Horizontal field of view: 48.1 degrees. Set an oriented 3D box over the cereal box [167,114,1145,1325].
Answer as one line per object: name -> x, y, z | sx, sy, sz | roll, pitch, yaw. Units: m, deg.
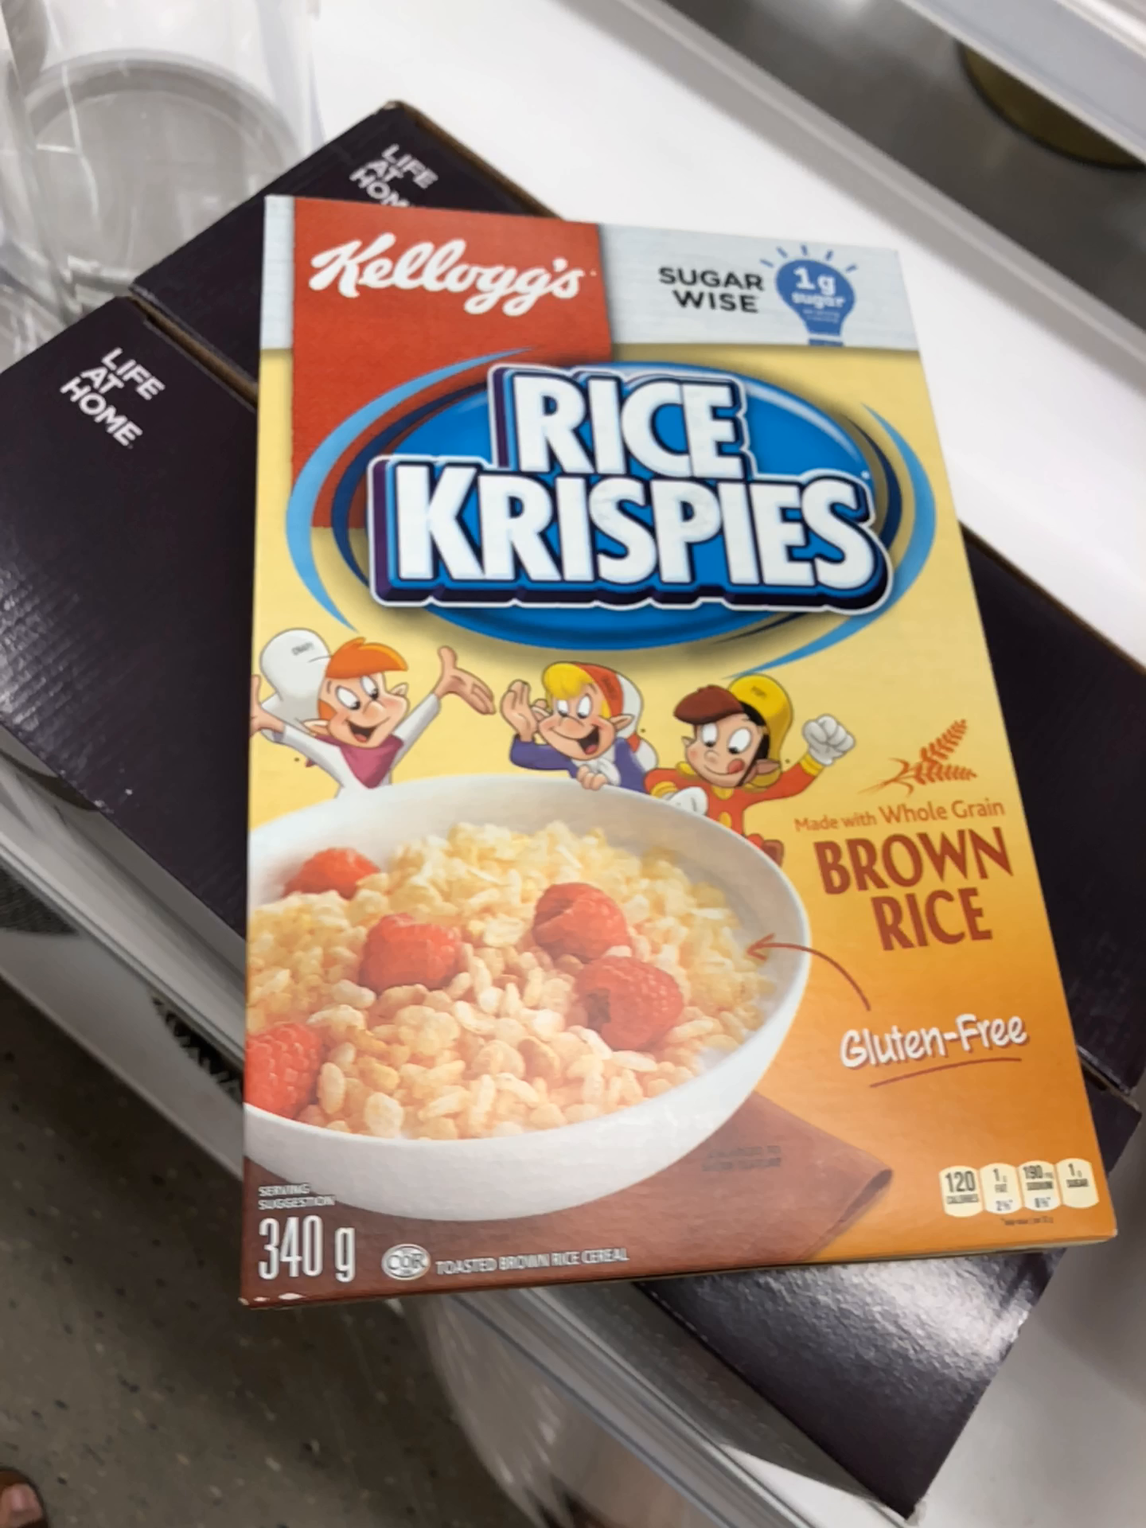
cereal box -> 0.011, -0.025, 0.372 | 0.220, 0.070, 0.330 | 2, 65, -13
